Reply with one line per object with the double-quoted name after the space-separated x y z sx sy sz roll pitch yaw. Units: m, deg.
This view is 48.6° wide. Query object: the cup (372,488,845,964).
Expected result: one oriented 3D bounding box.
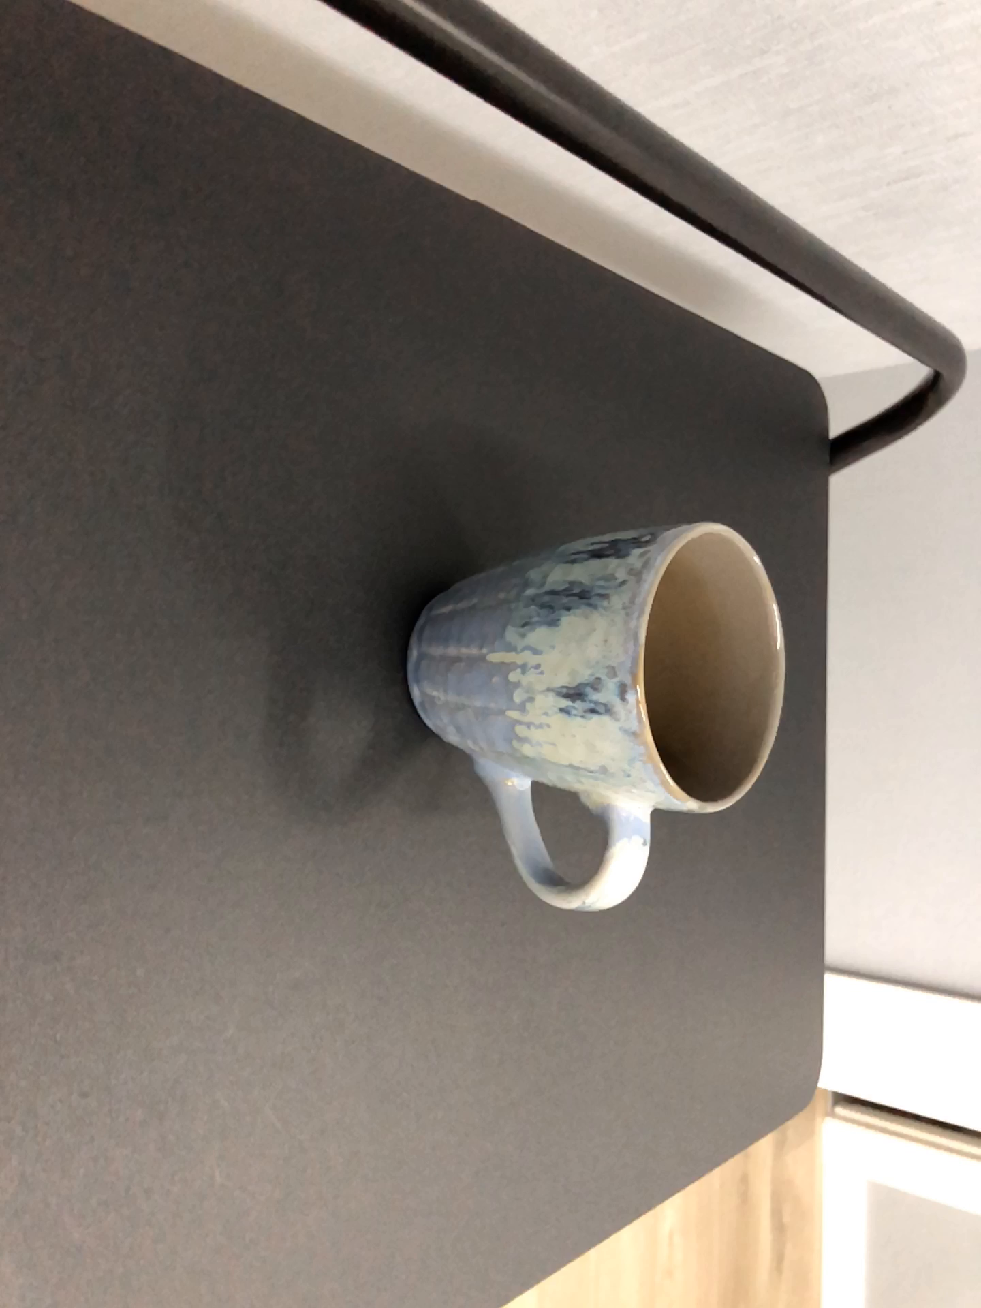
0.038 0.025 0.341 0.090 0.107 0.120 14 78 -47 "cup"
